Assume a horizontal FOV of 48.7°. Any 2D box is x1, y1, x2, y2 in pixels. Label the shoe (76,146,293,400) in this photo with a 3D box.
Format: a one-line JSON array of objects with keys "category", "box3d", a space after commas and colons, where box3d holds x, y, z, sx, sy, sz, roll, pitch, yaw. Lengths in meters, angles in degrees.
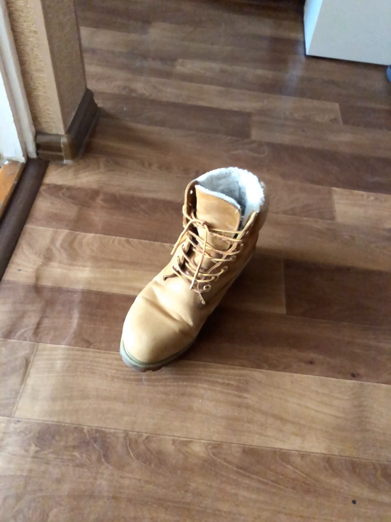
[{"category": "shoe", "box3d": [-0.006, 0.009, 0.597, 0.120, 0.179, 0.291, 31, 55, 16]}]
